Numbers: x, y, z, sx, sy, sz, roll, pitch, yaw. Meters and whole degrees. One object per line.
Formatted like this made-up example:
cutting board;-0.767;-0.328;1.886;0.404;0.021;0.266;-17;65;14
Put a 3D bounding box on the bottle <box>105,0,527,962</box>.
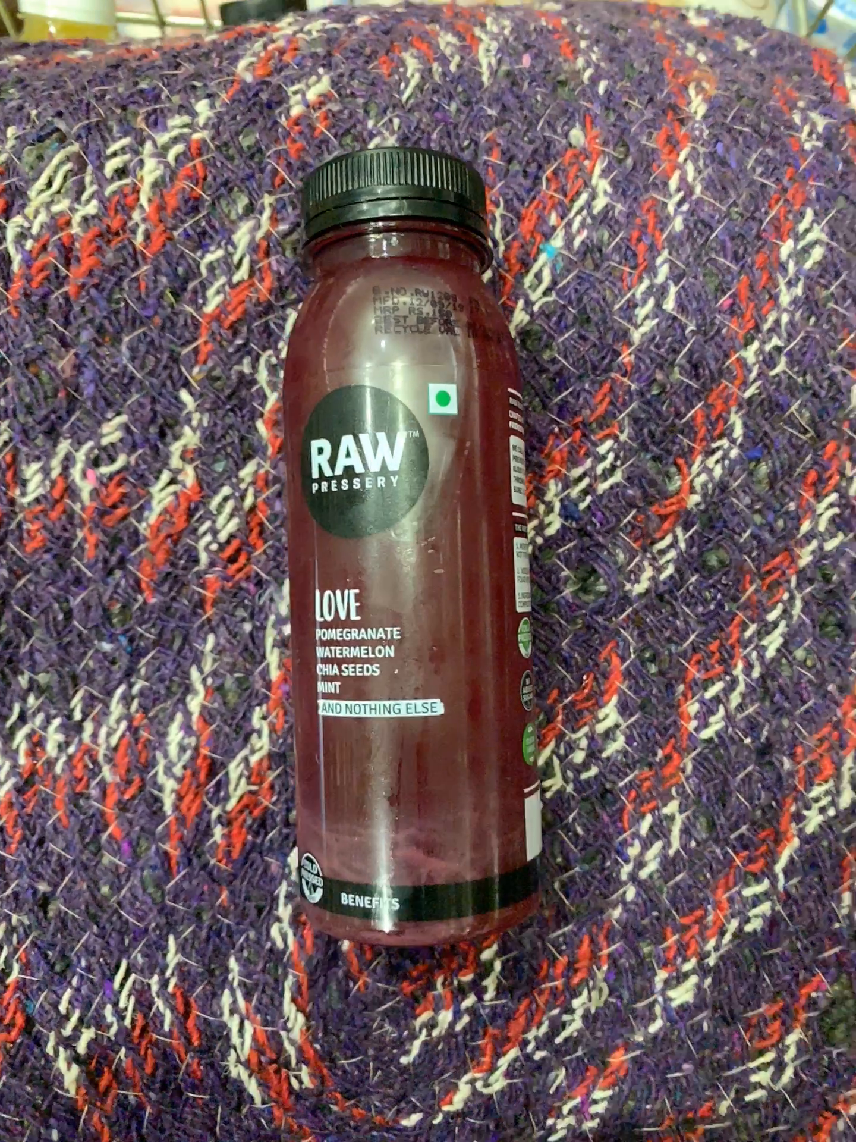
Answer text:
bottle;-0.020;-0.021;0.183;0.060;0.060;0.170;-3;87;19
